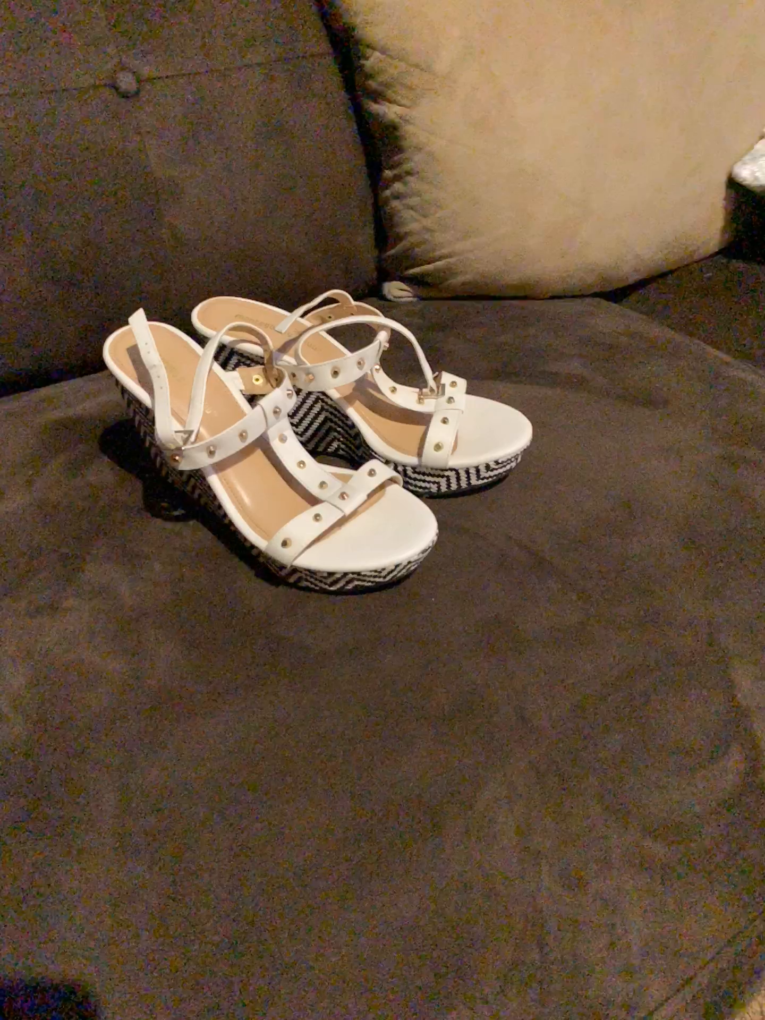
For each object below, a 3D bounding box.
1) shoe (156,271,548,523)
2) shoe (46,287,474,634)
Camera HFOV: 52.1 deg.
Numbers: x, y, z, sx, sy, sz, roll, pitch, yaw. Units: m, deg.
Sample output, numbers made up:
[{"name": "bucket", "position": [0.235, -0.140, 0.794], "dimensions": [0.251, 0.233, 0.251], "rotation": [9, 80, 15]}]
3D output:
[{"name": "shoe", "position": [-0.022, -0.089, 0.567], "dimensions": [0.250, 0.100, 0.100], "rotation": [14, 38, 16]}, {"name": "shoe", "position": [-0.085, -0.047, 0.513], "dimensions": [0.261, 0.100, 0.110], "rotation": [28, 43, 28]}]
